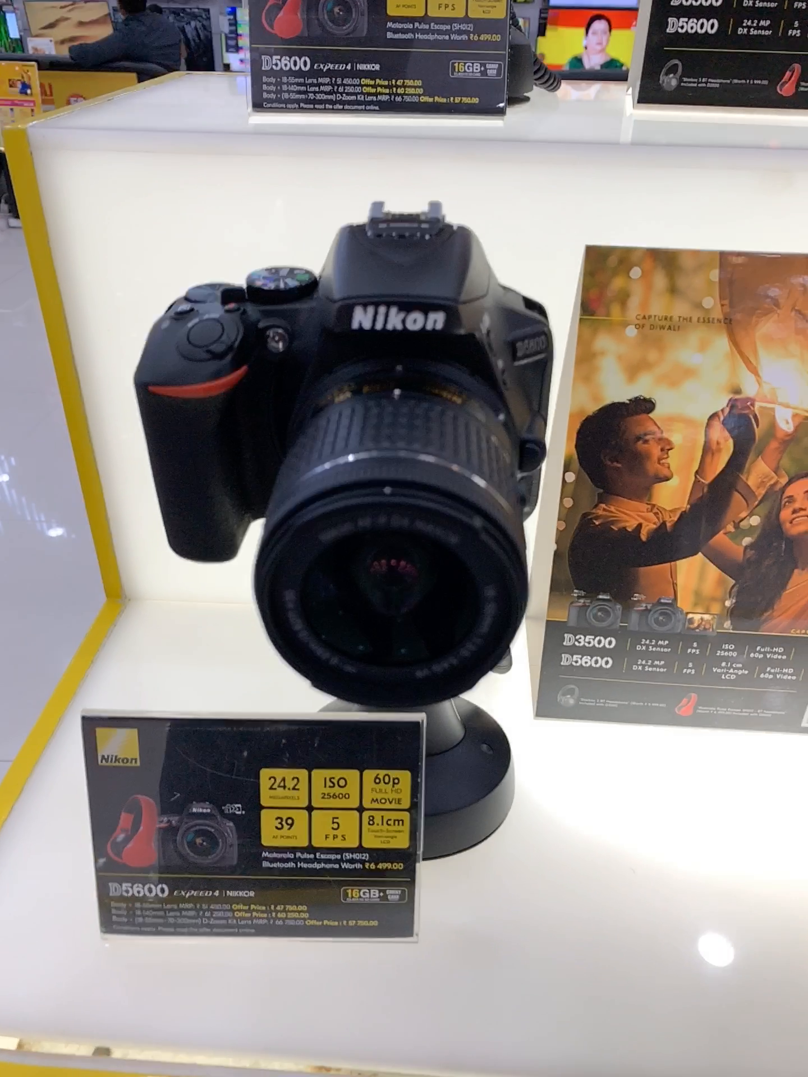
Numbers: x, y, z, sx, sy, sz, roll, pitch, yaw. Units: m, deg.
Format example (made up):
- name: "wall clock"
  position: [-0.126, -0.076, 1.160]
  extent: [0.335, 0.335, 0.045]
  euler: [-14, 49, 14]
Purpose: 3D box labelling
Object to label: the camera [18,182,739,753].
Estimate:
- name: "camera"
  position: [-0.004, -0.035, 0.229]
  extent: [0.120, 0.090, 0.161]
  euler: [1, 33, 0]
